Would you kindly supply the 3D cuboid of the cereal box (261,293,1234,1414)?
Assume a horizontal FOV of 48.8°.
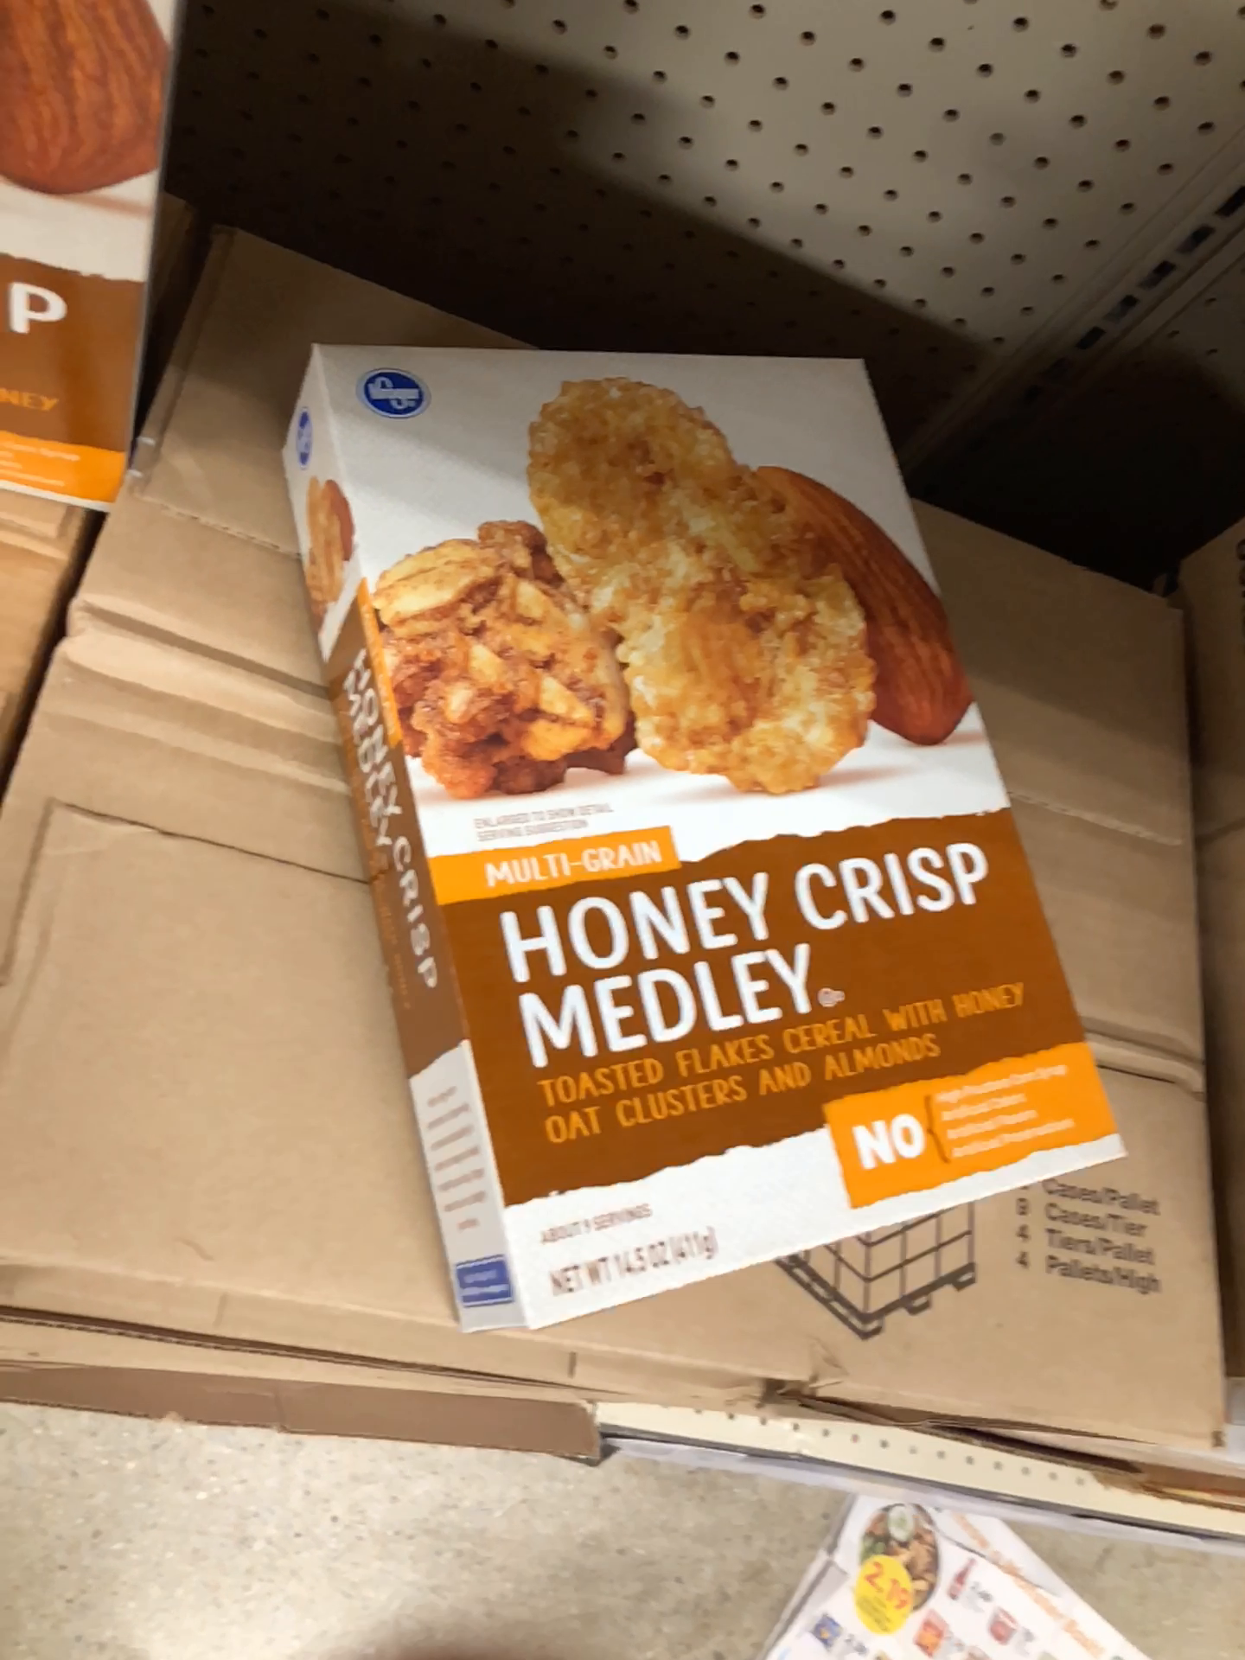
[{"bbox_3d":[0.029,-0.010,0.382,0.200,0.060,0.270,-8,75,-26],"label":"cereal box"}]
